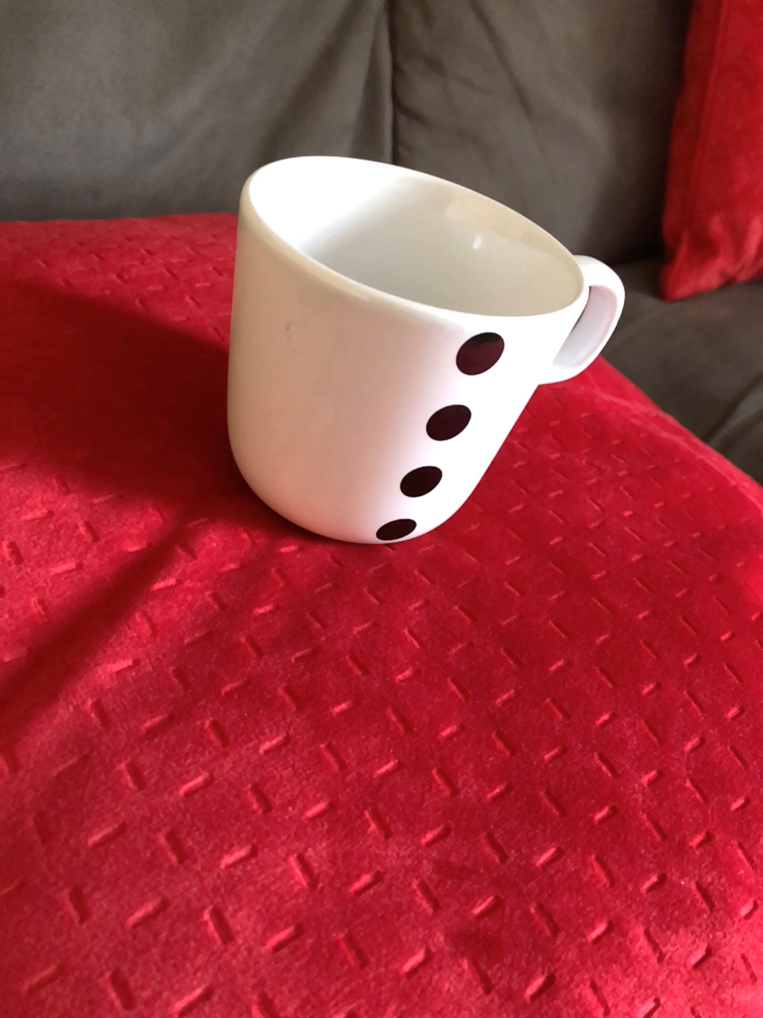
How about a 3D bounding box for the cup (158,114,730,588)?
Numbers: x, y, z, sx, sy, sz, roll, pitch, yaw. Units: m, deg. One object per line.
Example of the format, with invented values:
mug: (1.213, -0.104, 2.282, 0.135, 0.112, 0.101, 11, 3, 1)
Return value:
cup: (0.009, -0.044, 0.228, 0.110, 0.080, 0.080, -8, 44, -29)
